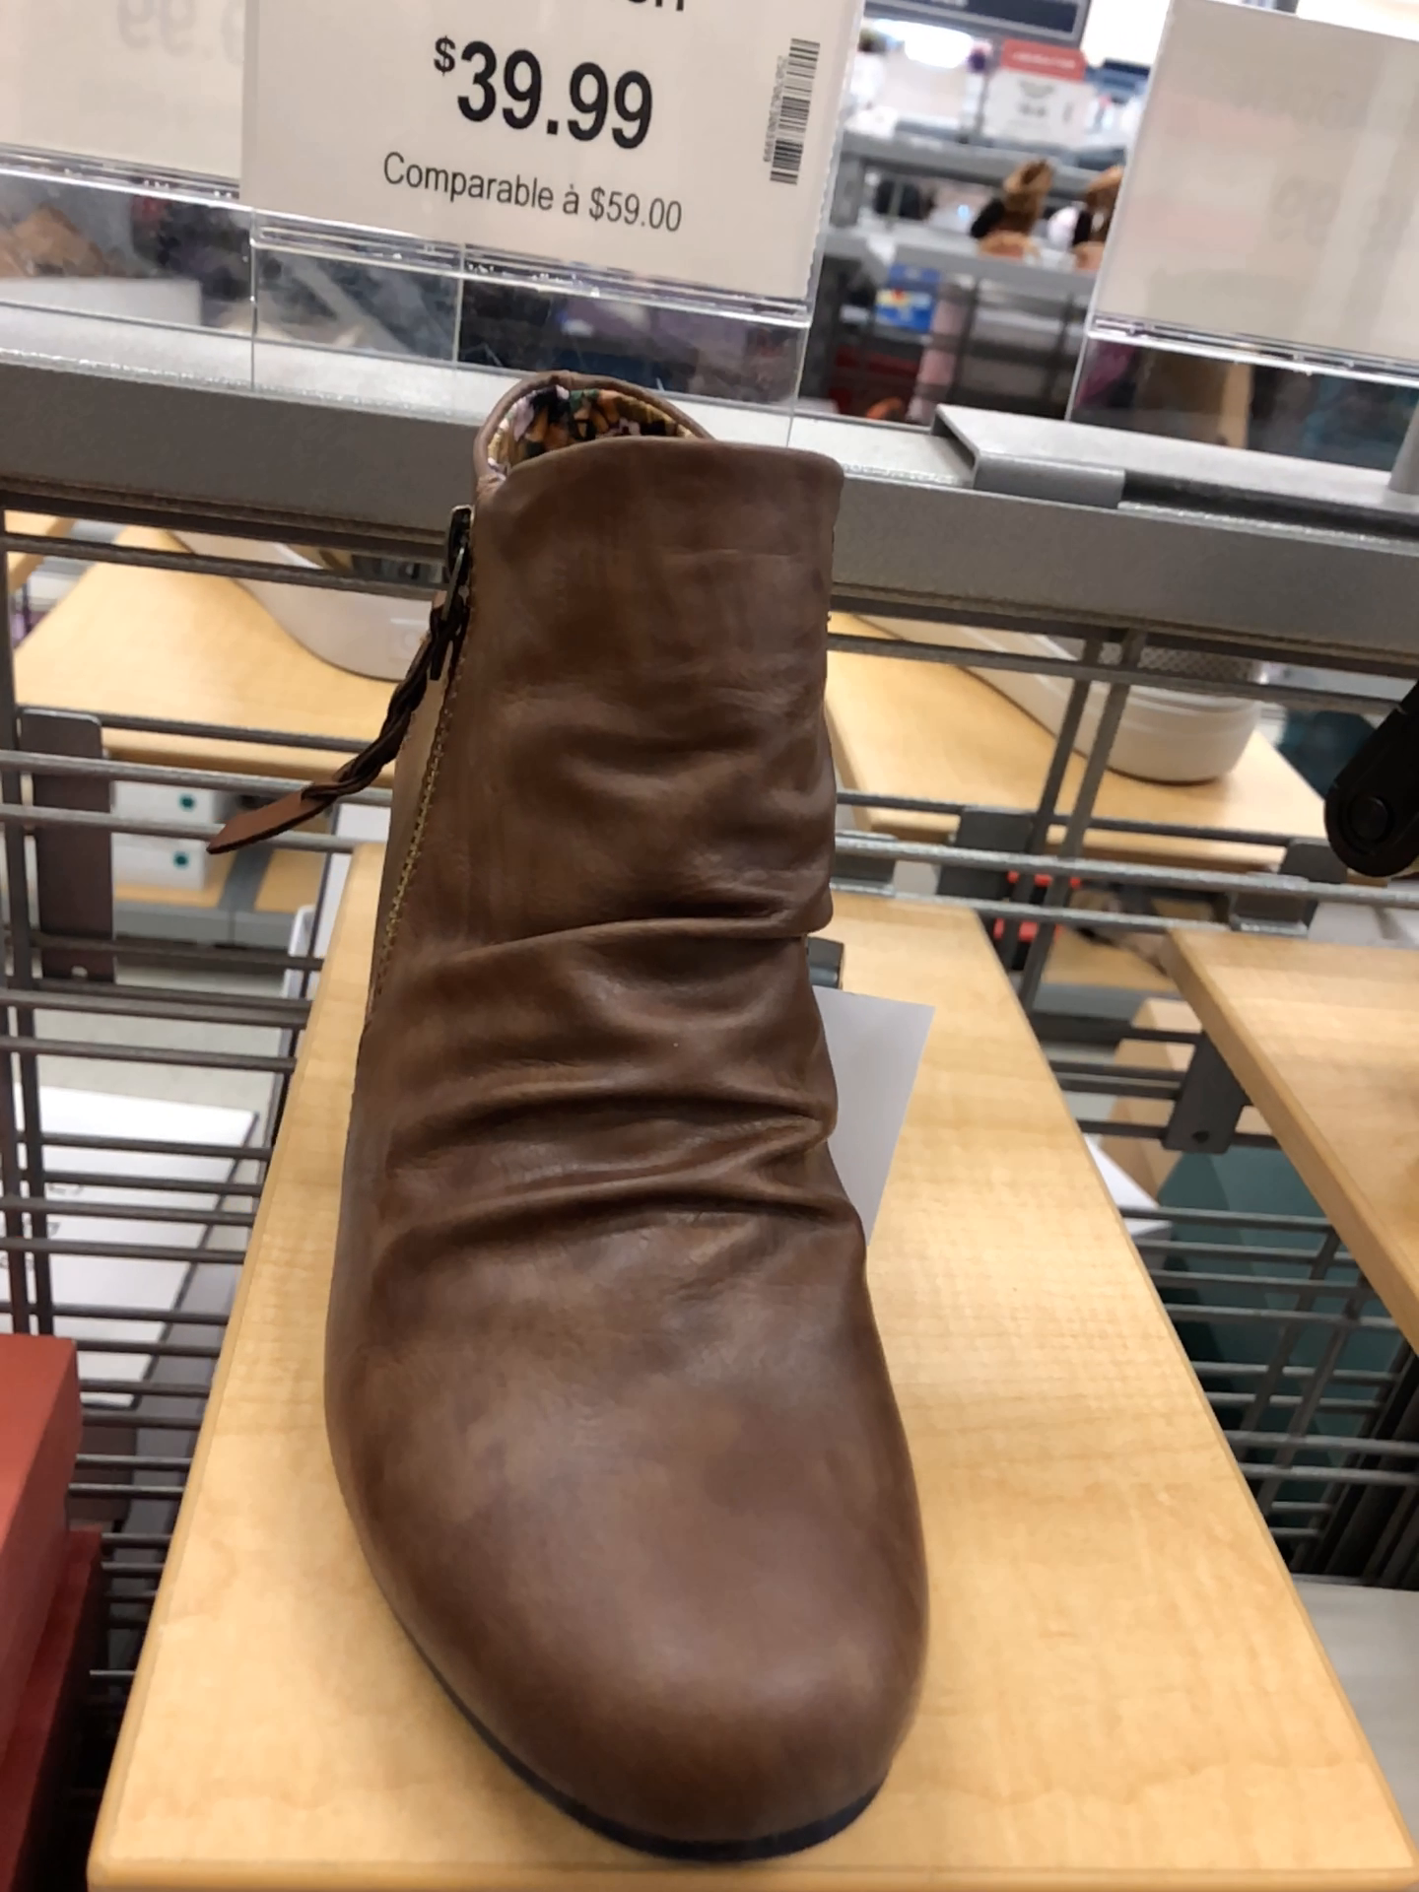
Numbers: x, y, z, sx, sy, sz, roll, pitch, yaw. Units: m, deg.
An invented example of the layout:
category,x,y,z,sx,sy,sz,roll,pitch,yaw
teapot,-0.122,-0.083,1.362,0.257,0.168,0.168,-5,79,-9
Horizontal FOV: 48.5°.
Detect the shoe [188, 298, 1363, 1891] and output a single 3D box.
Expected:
category,x,y,z,sx,sy,sz,roll,pitch,yaw
shoe,-0.022,-0.003,0.248,0.090,0.139,0.232,3,30,-13
